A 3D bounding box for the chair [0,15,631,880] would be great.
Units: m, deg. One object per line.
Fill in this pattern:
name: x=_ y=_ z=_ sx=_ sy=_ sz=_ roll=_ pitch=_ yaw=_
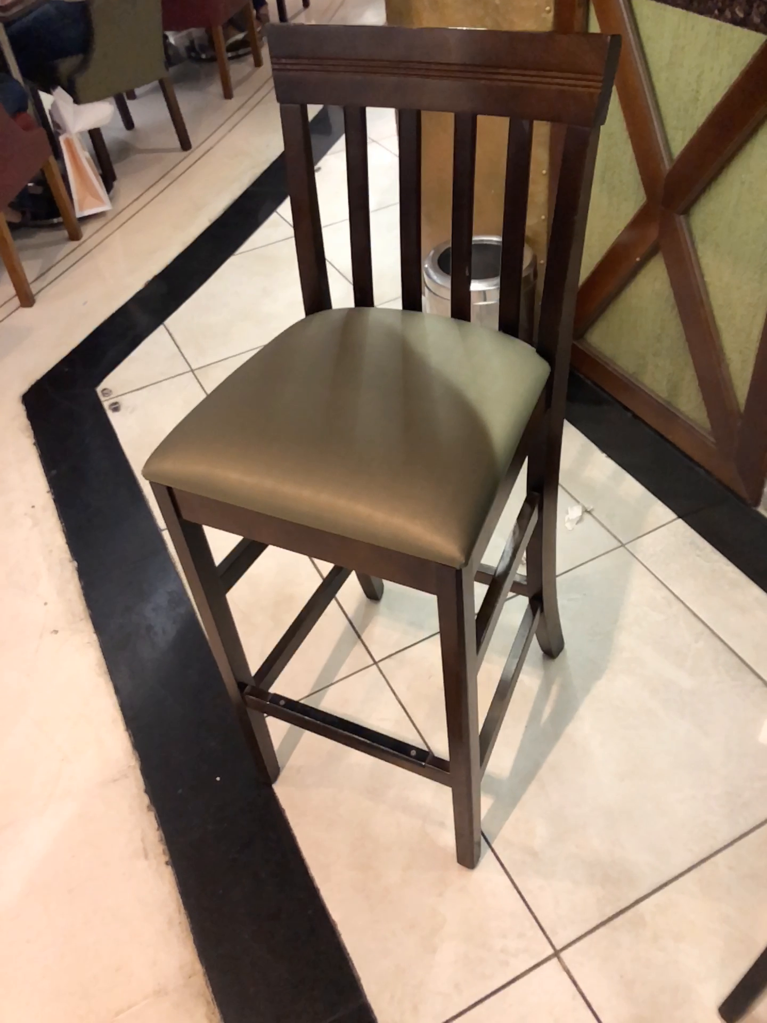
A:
chair: x=-0.005 y=-0.029 z=1.162 sx=0.461 sy=1.033 sz=0.493 roll=15 pitch=48 yaw=22
